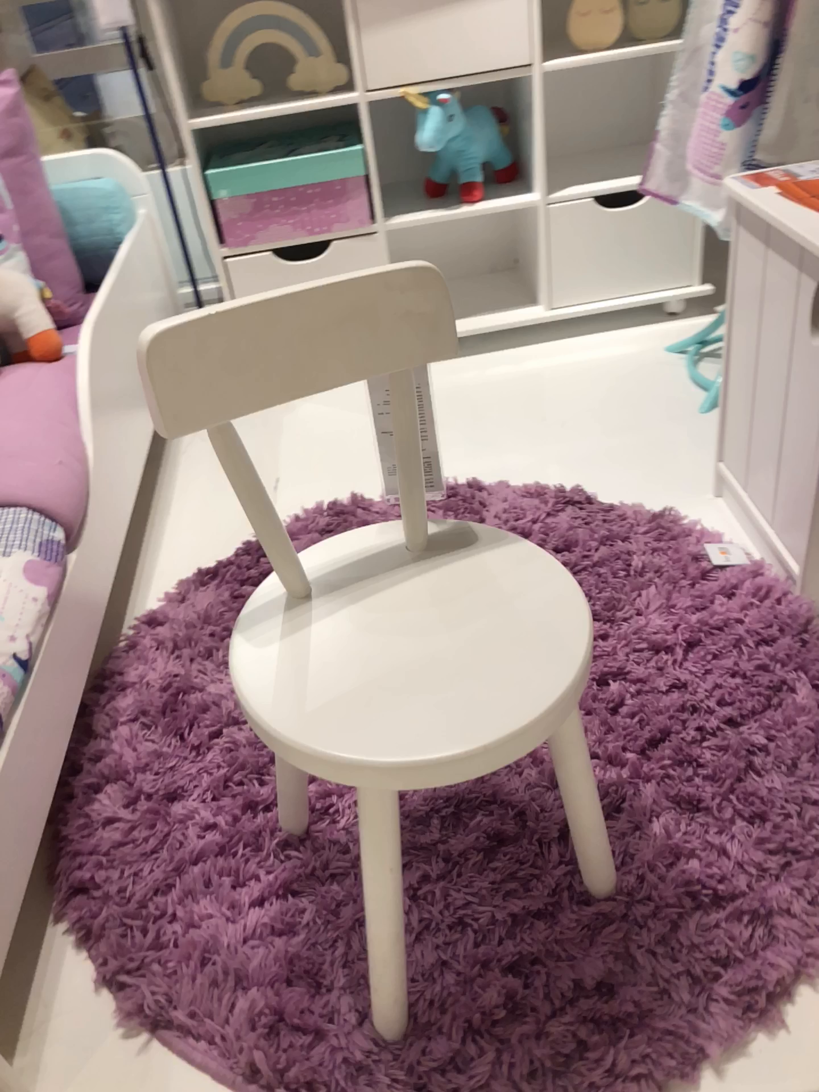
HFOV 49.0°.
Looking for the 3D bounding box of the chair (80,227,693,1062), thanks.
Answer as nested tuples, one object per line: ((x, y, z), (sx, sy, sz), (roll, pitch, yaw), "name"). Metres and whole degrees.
((-0.001, 0.085, 0.785), (0.321, 0.575, 0.312), (-23, 38, -19), "chair")
